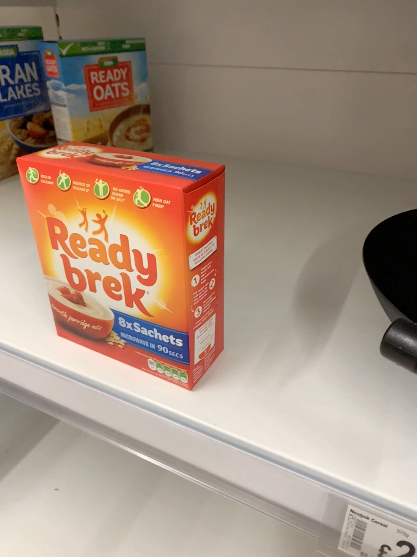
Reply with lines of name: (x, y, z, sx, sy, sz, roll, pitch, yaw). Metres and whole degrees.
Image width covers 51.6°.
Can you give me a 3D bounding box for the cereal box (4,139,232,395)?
cereal box: (-0.076, -0.016, 0.400, 0.180, 0.188, 0.071, 16, 34, 25)
